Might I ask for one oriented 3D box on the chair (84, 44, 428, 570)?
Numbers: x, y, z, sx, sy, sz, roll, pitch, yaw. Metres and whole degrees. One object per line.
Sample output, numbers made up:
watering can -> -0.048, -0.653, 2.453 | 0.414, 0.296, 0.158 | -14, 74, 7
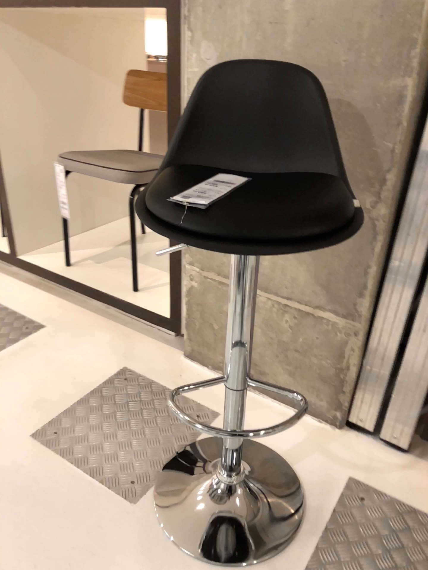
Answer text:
chair -> 0.079, 0.079, 0.974 | 0.430, 1.013, 0.473 | 8, 28, 9
